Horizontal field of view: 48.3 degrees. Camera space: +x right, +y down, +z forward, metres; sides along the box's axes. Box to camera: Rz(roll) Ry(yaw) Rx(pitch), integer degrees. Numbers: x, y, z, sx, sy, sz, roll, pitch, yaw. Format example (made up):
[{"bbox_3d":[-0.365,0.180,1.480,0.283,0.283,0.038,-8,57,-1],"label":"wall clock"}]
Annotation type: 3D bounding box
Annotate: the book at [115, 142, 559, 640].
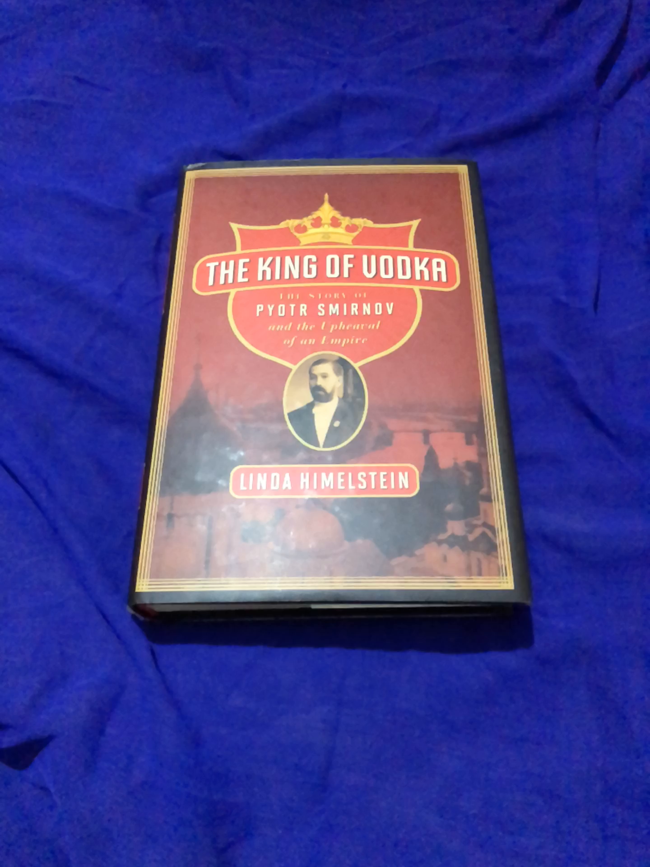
[{"bbox_3d":[0.003,-0.033,0.357,0.170,0.050,0.250,-1,63,1],"label":"book"}]
